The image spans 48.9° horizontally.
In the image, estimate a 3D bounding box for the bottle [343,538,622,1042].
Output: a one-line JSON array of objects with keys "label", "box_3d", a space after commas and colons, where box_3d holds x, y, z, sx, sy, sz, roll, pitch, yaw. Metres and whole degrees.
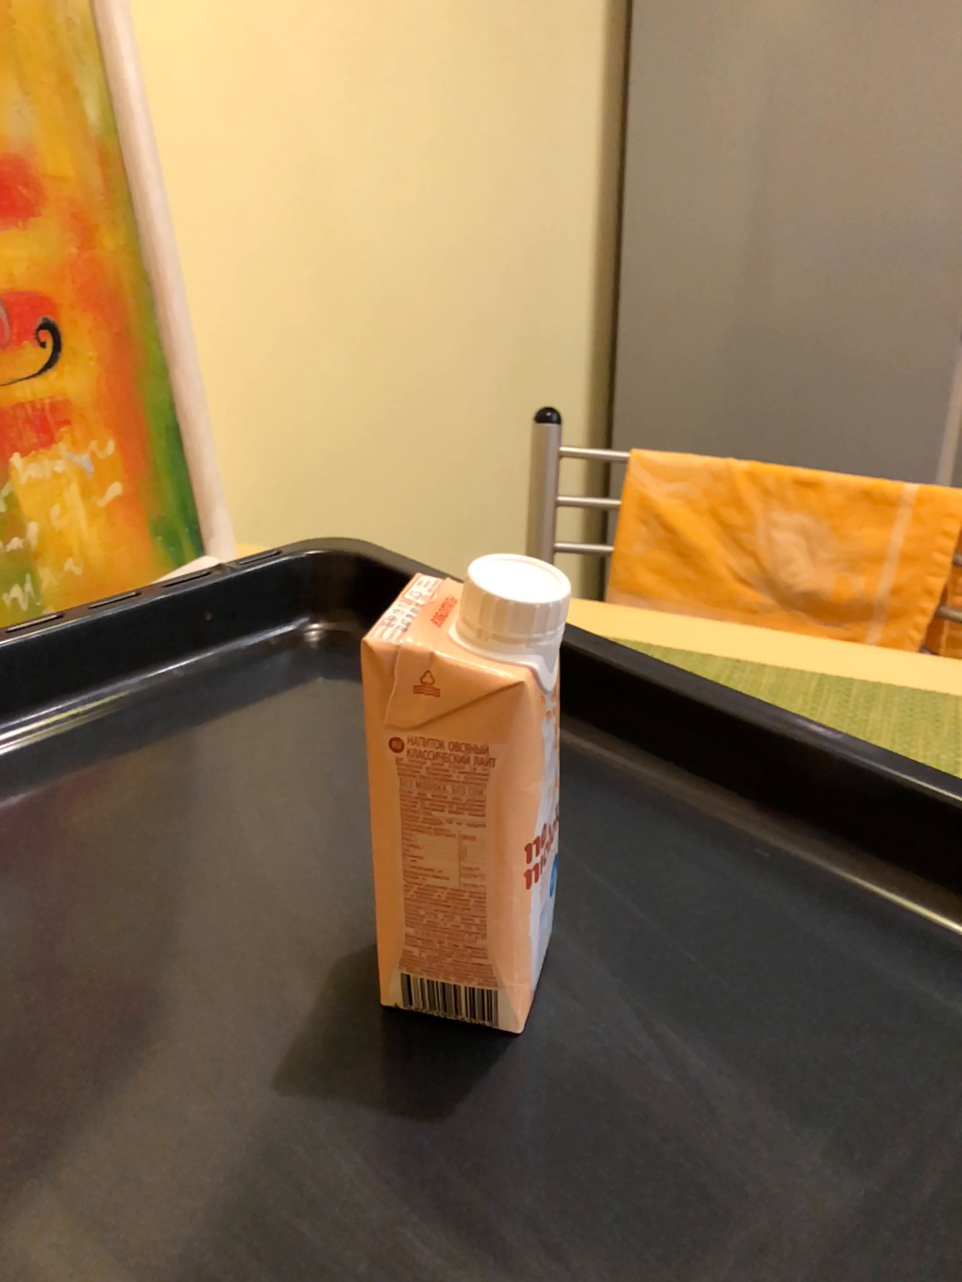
[{"label": "bottle", "box_3d": [0.003, 0.040, 0.298, 0.060, 0.119, 0.060, 0, 24, 0]}]
